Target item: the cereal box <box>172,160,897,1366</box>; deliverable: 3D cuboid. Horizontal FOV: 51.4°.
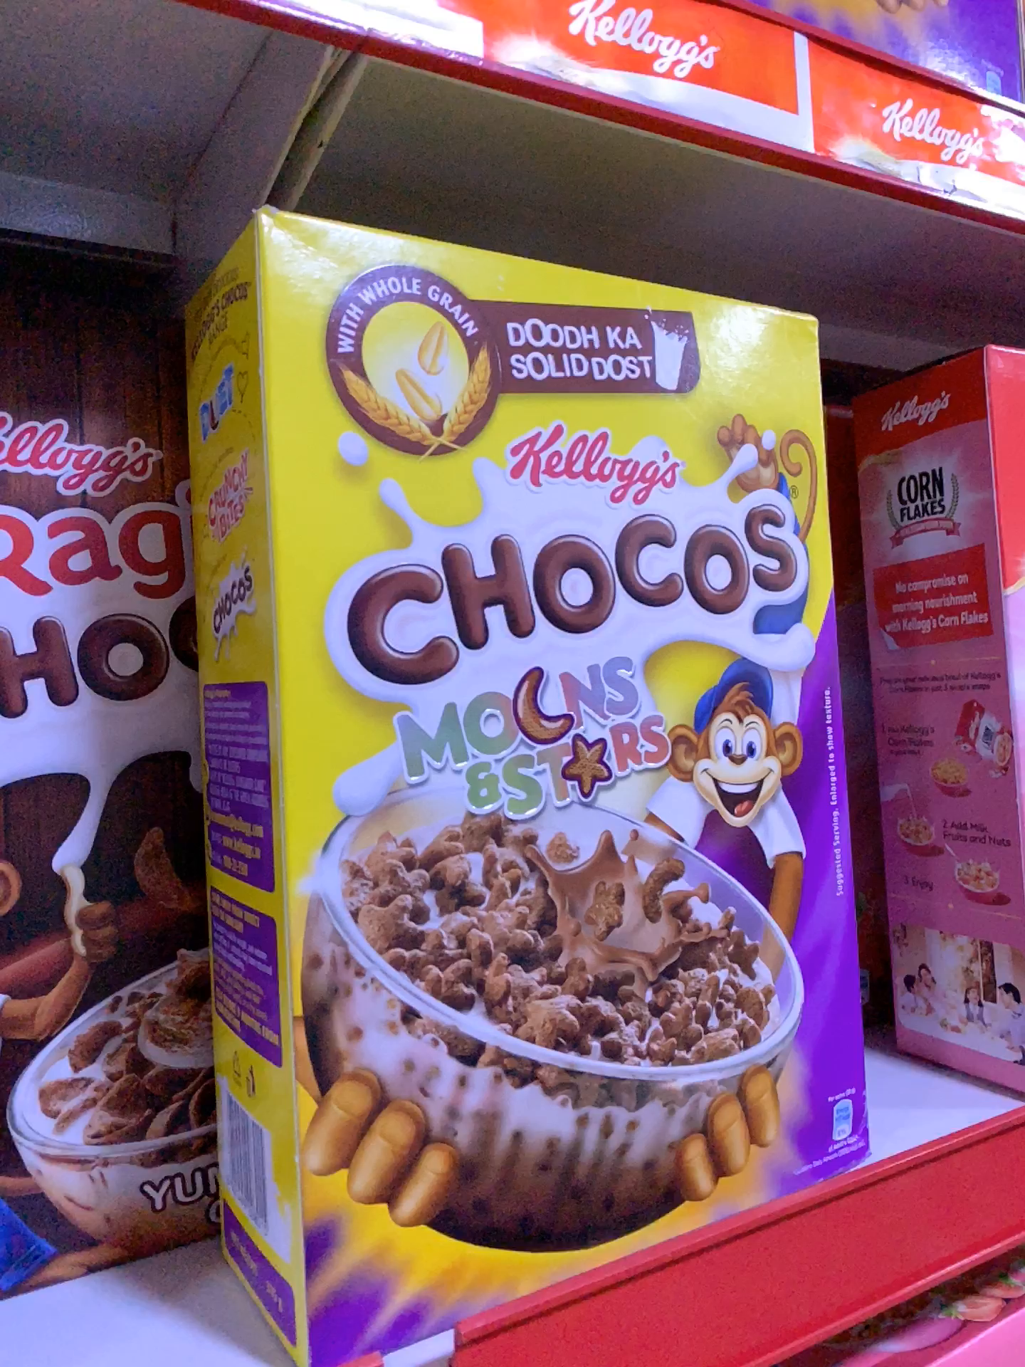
[{"bbox_3d":[0.013,0.019,0.281,0.180,0.250,0.060,-2,0,-32],"label":"cereal box"}]
